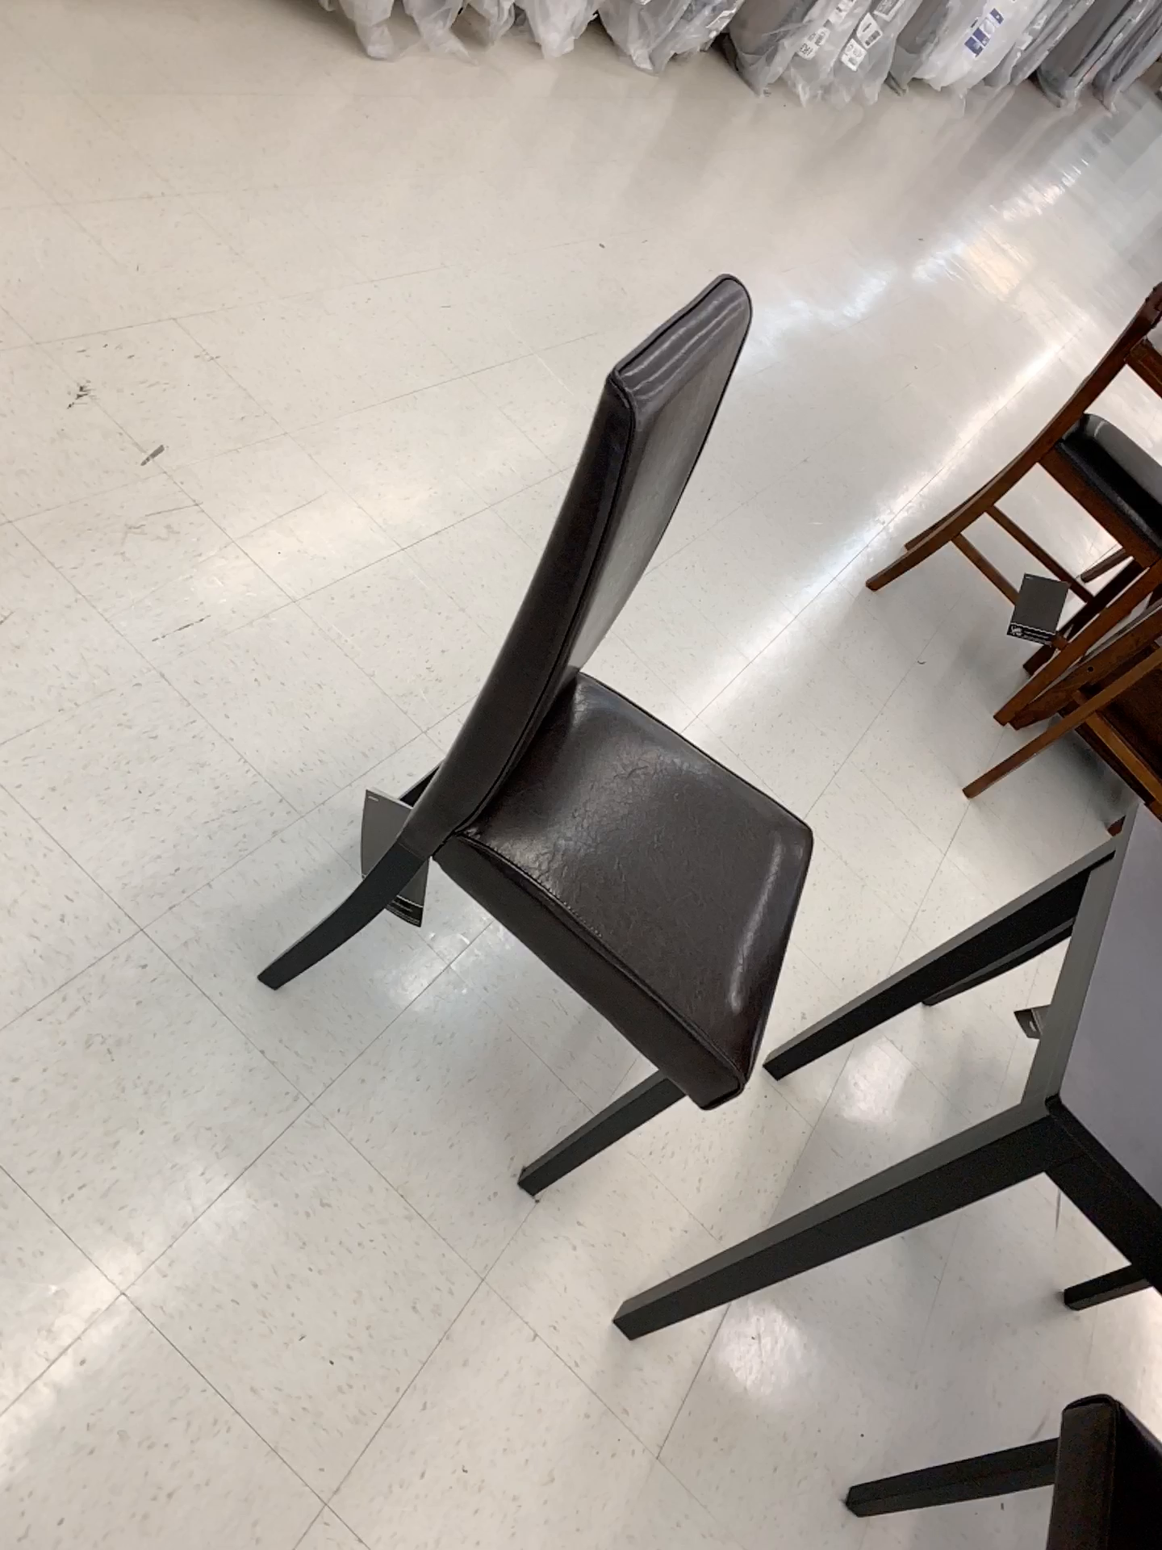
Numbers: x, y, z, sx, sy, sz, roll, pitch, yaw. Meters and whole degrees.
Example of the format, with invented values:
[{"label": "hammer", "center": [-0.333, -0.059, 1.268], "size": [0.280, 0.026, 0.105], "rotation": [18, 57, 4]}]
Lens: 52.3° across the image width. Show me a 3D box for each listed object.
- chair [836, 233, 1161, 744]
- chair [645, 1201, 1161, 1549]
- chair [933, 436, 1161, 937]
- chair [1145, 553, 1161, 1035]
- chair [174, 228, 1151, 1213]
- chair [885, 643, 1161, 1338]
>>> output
[{"label": "chair", "center": [1.277, -0.689, 2.951], "size": [0.644, 1.009, 0.467], "rotation": [48, 40, 5]}, {"label": "chair", "center": [0.591, 0.894, 1.054], "size": [0.414, 0.930, 0.597], "rotation": [44, 40, 0]}, {"label": "chair", "center": [1.401, -0.188, 2.606], "size": [0.464, 0.980, 0.648], "rotation": [52, 41, 10]}, {"label": "chair", "center": [2.073, 0.065, 2.921], "size": [0.644, 0.980, 0.467], "rotation": [50, 40, 7]}, {"label": "chair", "center": [0.045, 0.007, 1.364], "size": [0.594, 0.930, 0.426], "rotation": [38, 40, -6]}, {"label": "chair", "center": [0.972, 0.365, 1.828], "size": [0.414, 0.930, 0.597], "rotation": [35, 41, -10]}]
